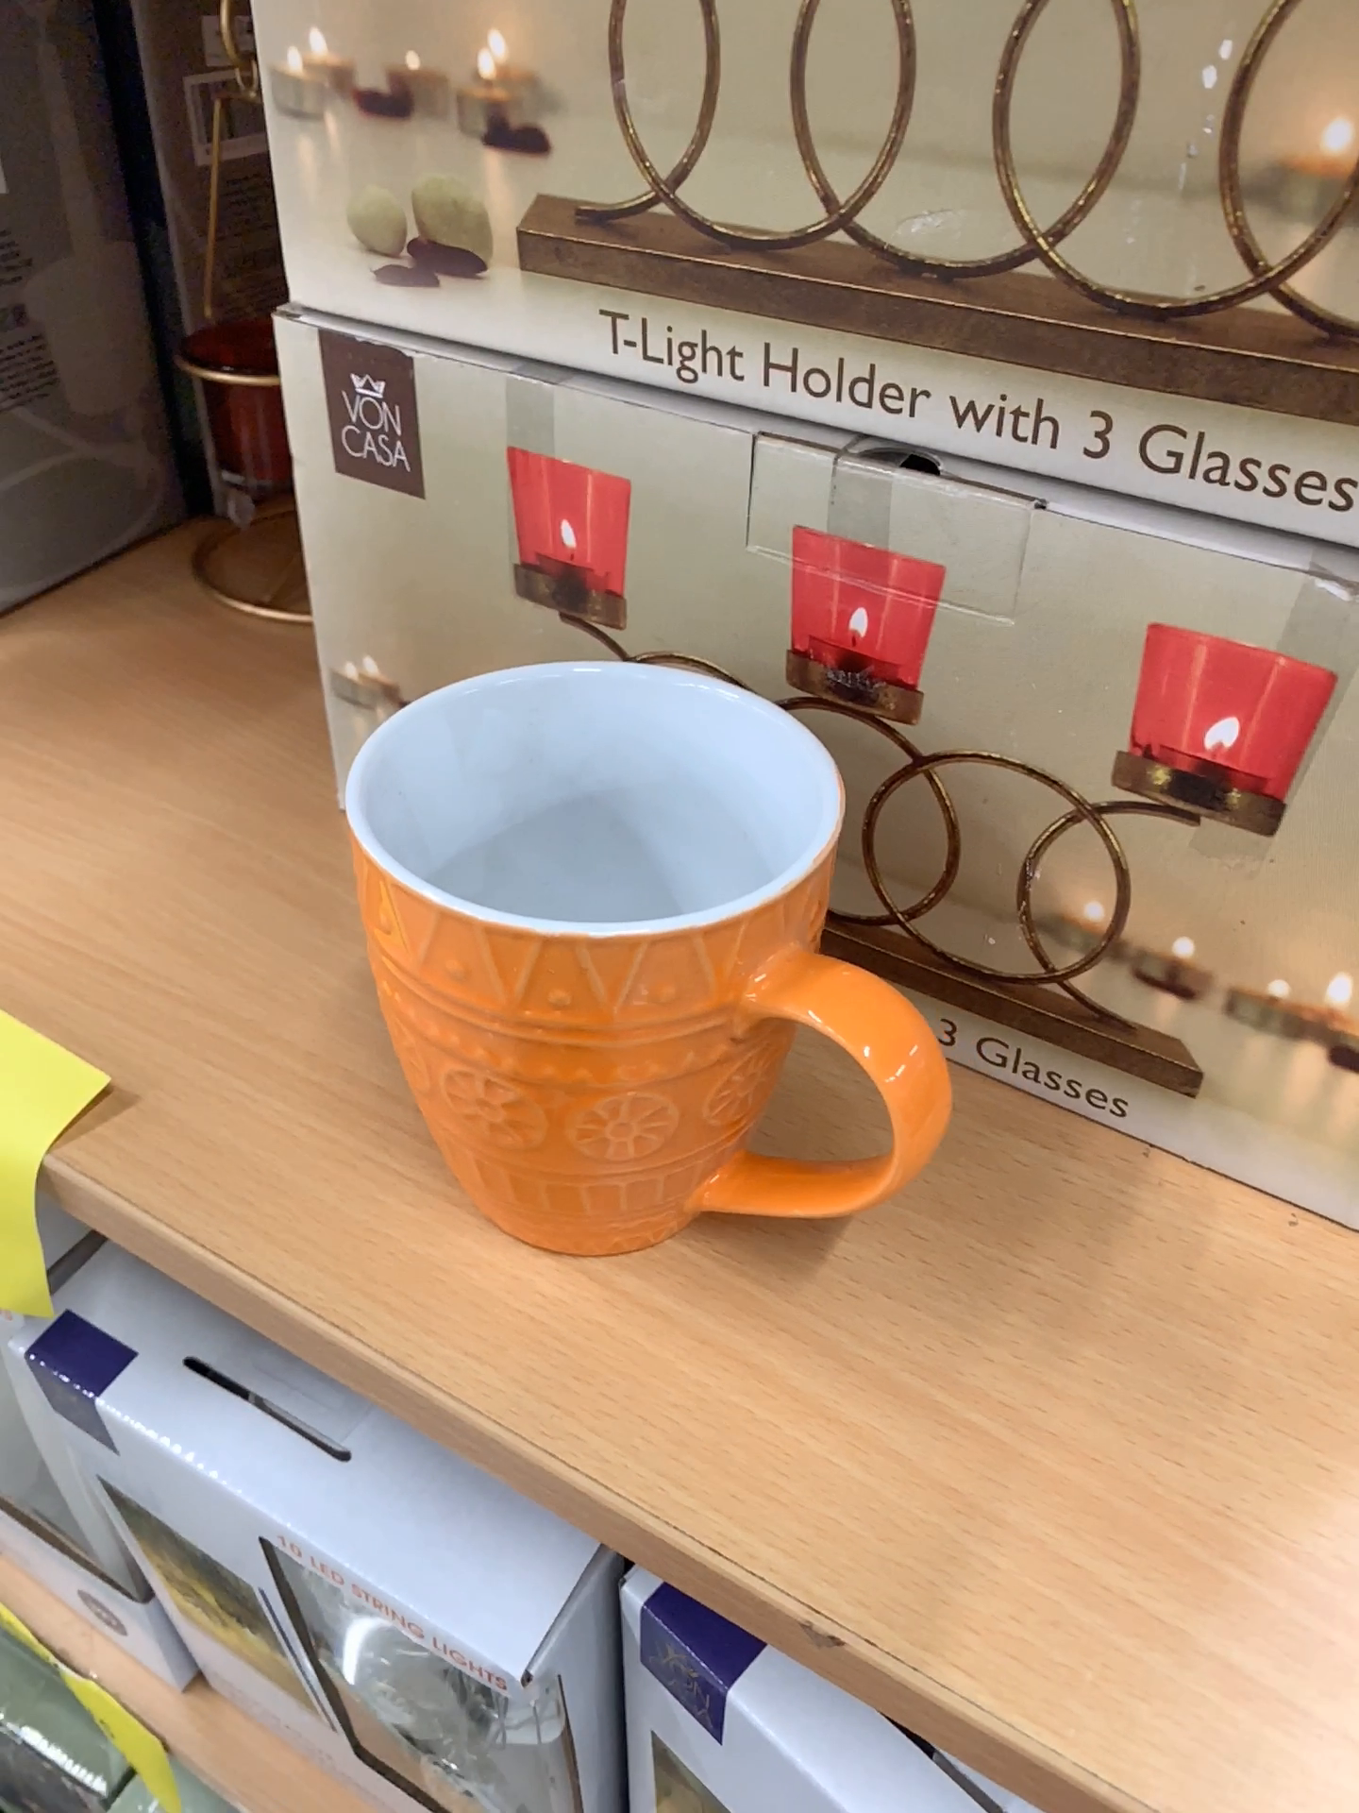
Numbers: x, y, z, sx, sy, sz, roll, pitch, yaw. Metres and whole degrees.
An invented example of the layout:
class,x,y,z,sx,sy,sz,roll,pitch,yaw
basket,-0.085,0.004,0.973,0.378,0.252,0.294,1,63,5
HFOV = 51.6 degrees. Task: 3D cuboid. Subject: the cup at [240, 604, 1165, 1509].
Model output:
class,x,y,z,sx,sy,sz,roll,pitch,yaw
cup,0.000,0.016,0.242,0.120,0.080,0.080,28,43,28
